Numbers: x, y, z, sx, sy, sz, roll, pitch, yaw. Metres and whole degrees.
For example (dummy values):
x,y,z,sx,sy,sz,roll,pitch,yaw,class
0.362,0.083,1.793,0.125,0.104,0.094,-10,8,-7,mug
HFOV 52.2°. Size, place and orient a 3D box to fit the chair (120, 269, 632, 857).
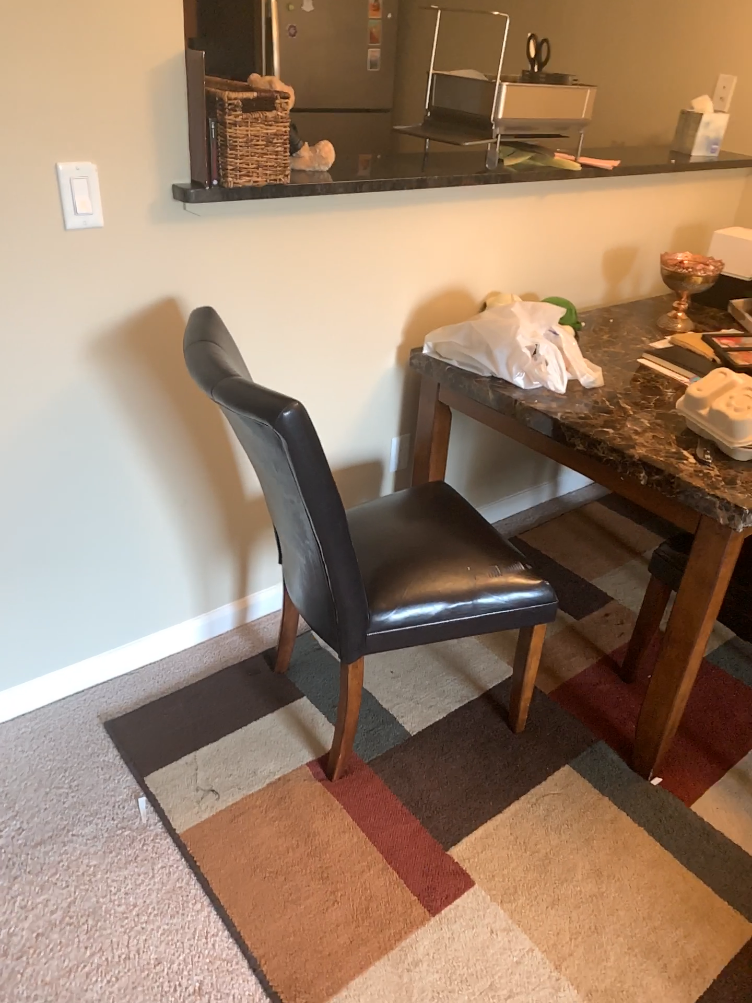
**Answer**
x,y,z,sx,sy,sz,roll,pitch,yaw,class
-0.074,0.055,1.789,0.731,0.925,0.814,-13,35,-28,chair
